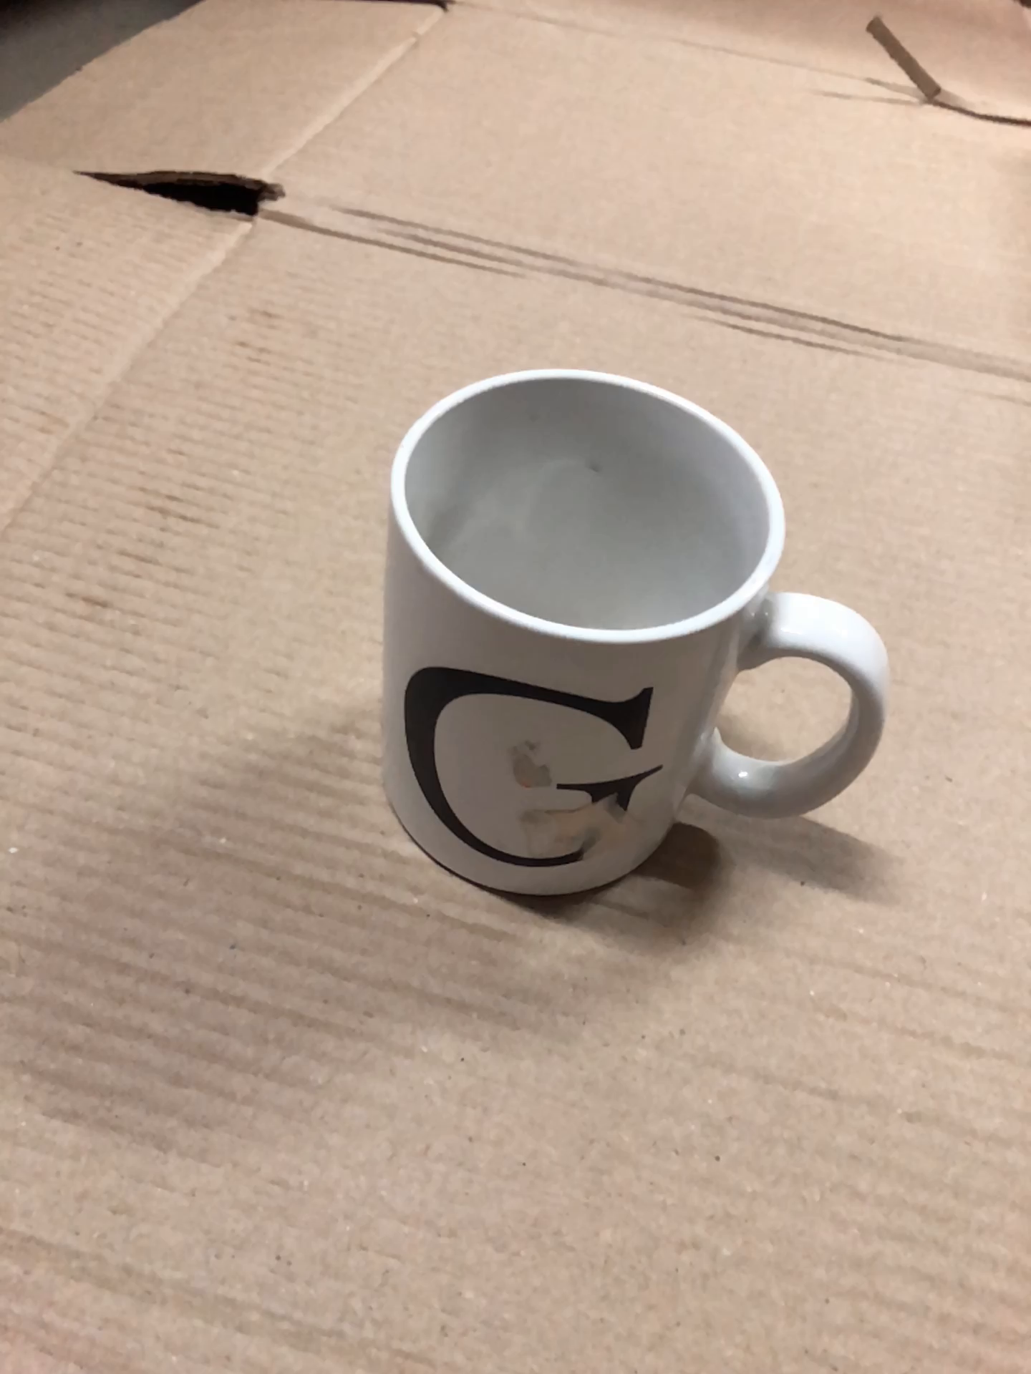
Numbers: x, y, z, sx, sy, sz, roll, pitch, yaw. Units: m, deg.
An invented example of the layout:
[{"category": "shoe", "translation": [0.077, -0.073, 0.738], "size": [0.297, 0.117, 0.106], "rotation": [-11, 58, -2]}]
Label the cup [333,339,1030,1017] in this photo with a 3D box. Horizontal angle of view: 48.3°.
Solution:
[{"category": "cup", "translation": [0.030, -0.003, 0.232], "size": [0.110, 0.080, 0.080], "rotation": [14, 45, 6]}]
